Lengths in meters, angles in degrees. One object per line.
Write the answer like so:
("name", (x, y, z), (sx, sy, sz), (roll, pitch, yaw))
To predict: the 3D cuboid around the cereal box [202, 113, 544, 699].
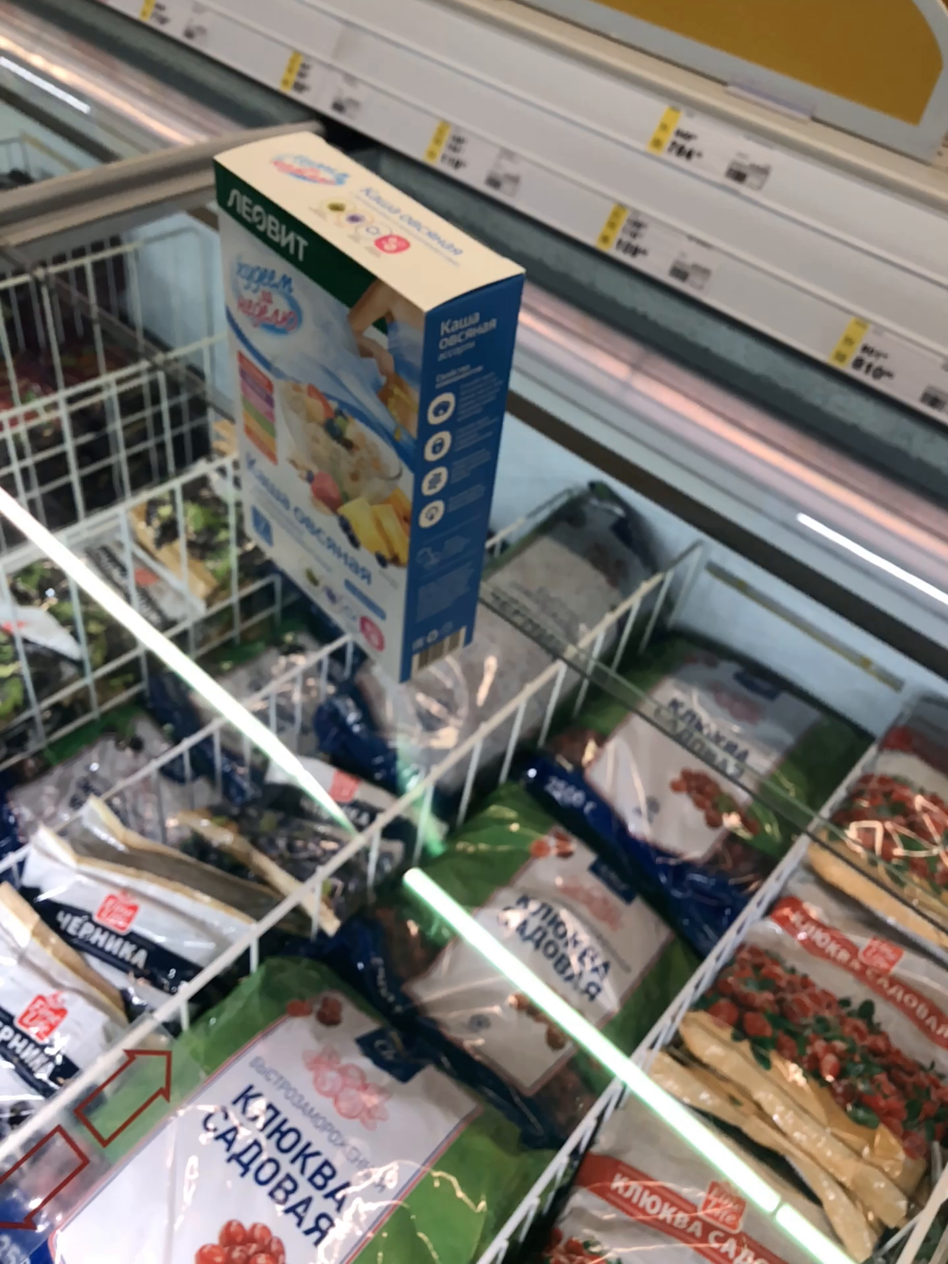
("cereal box", (-0.054, -0.100, 0.512), (0.060, 0.228, 0.150), (-30, 57, -29))
